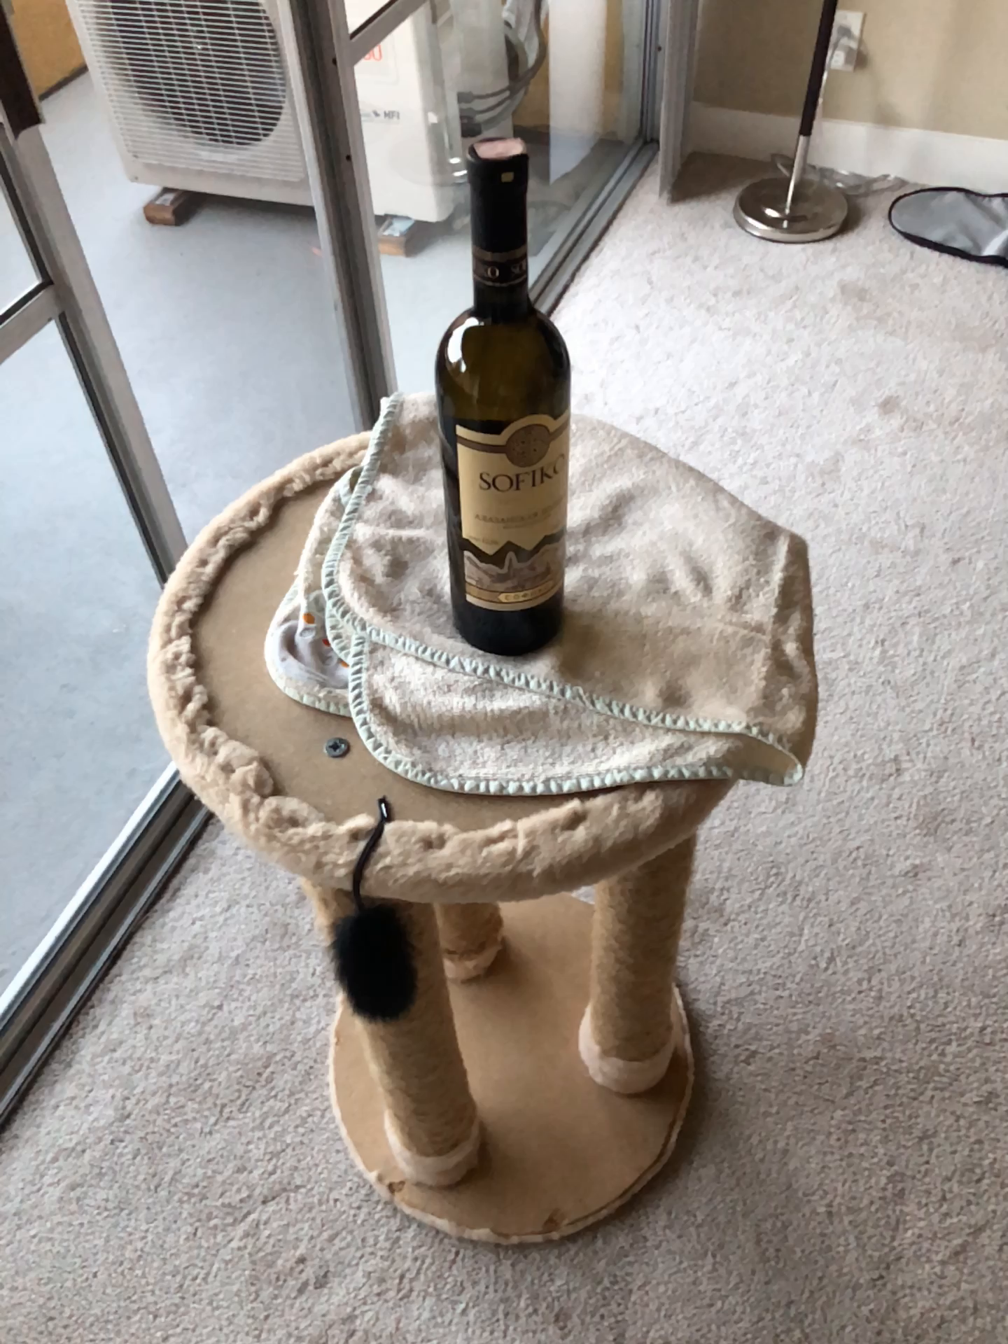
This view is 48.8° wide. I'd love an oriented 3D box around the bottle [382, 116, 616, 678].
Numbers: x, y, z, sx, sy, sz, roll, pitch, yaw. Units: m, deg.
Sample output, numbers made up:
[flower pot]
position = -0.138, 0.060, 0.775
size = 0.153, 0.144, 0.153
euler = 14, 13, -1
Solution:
[bottle]
position = 0.000, -0.122, 0.565
size = 0.080, 0.269, 0.080
euler = -1, 49, 2
